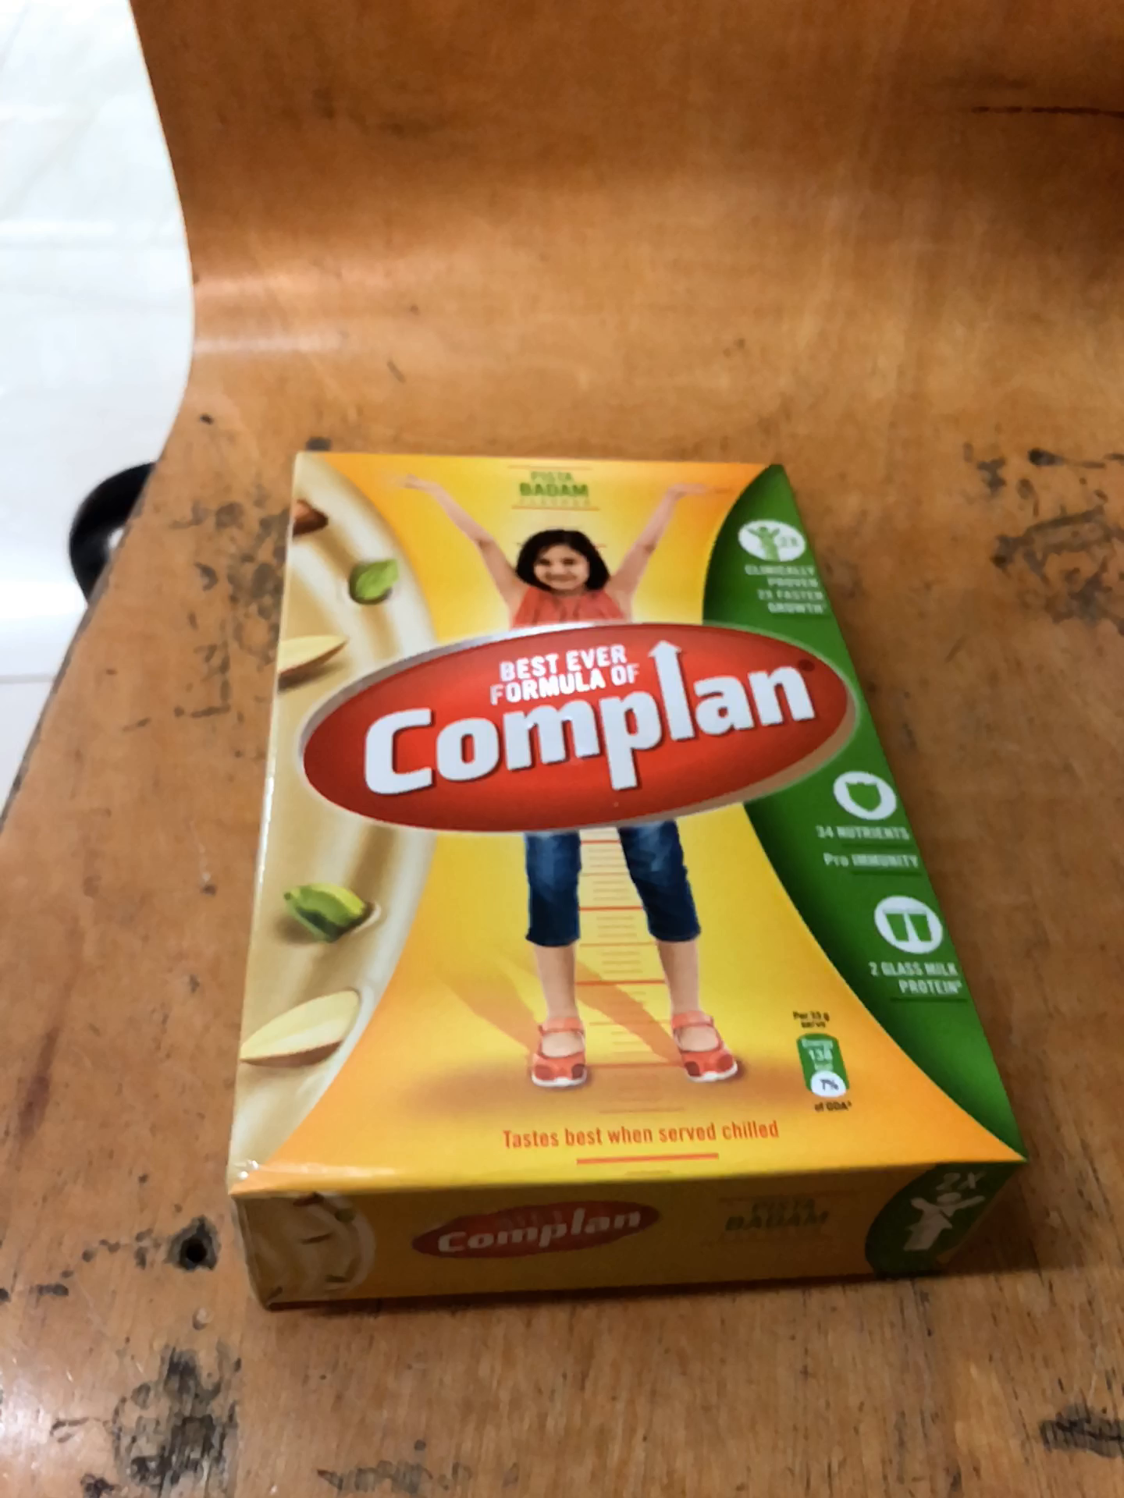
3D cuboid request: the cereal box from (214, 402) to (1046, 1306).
[{"bbox_3d":[0.001,0.005,0.299,0.140,0.050,0.221,1,47,-10],"label":"cereal box"}]
